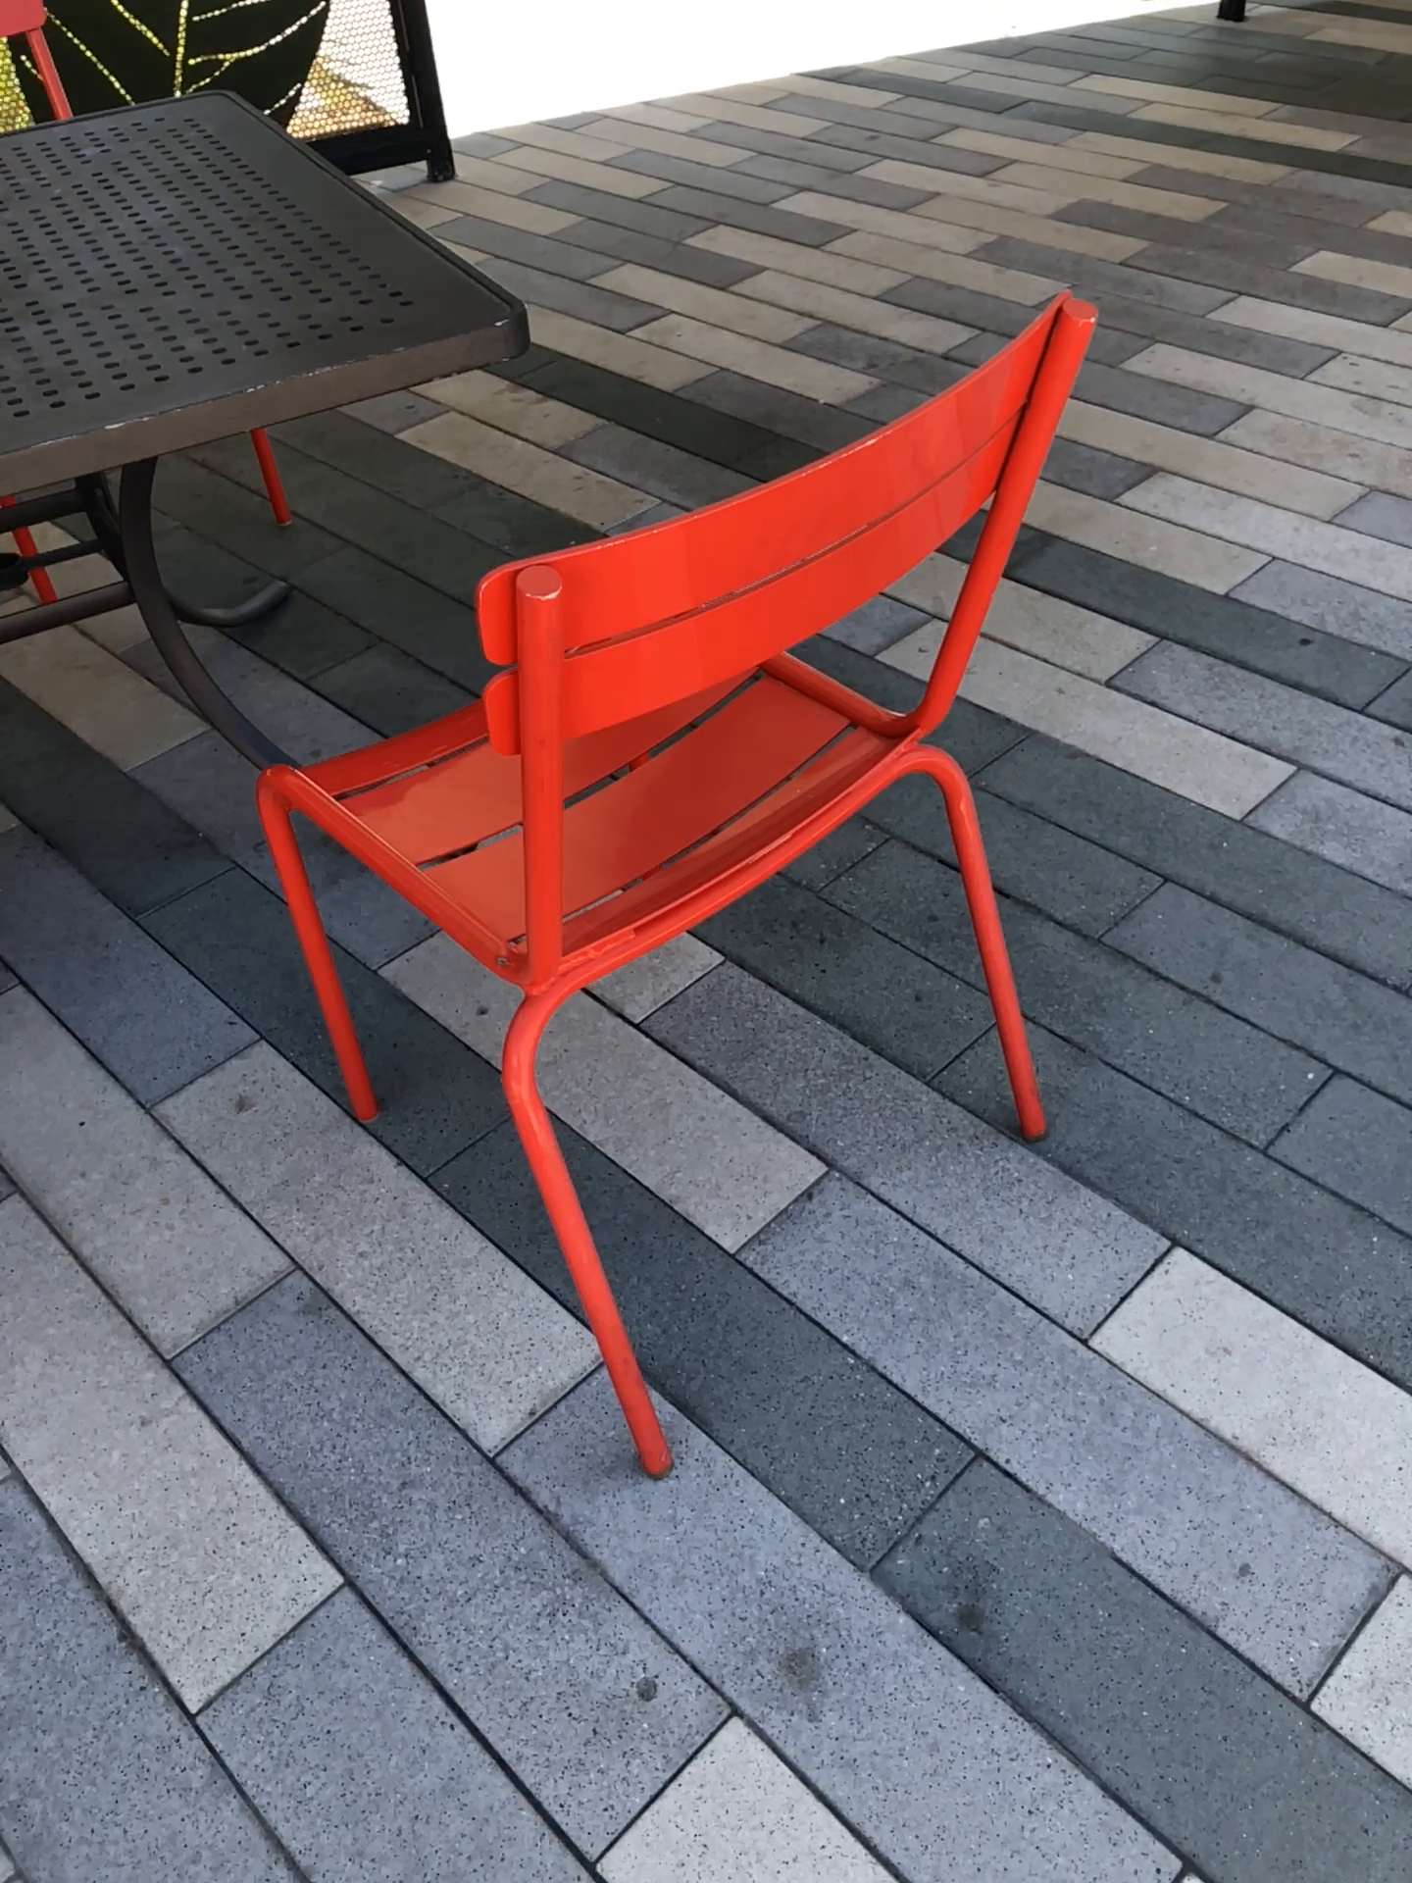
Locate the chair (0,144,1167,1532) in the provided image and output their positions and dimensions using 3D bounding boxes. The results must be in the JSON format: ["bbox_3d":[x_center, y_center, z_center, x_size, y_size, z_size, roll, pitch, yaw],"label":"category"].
[{"bbox_3d":[-0.079,-0.102,1.455,0.611,0.955,0.632,-35,50,-30],"label":"chair"}]
